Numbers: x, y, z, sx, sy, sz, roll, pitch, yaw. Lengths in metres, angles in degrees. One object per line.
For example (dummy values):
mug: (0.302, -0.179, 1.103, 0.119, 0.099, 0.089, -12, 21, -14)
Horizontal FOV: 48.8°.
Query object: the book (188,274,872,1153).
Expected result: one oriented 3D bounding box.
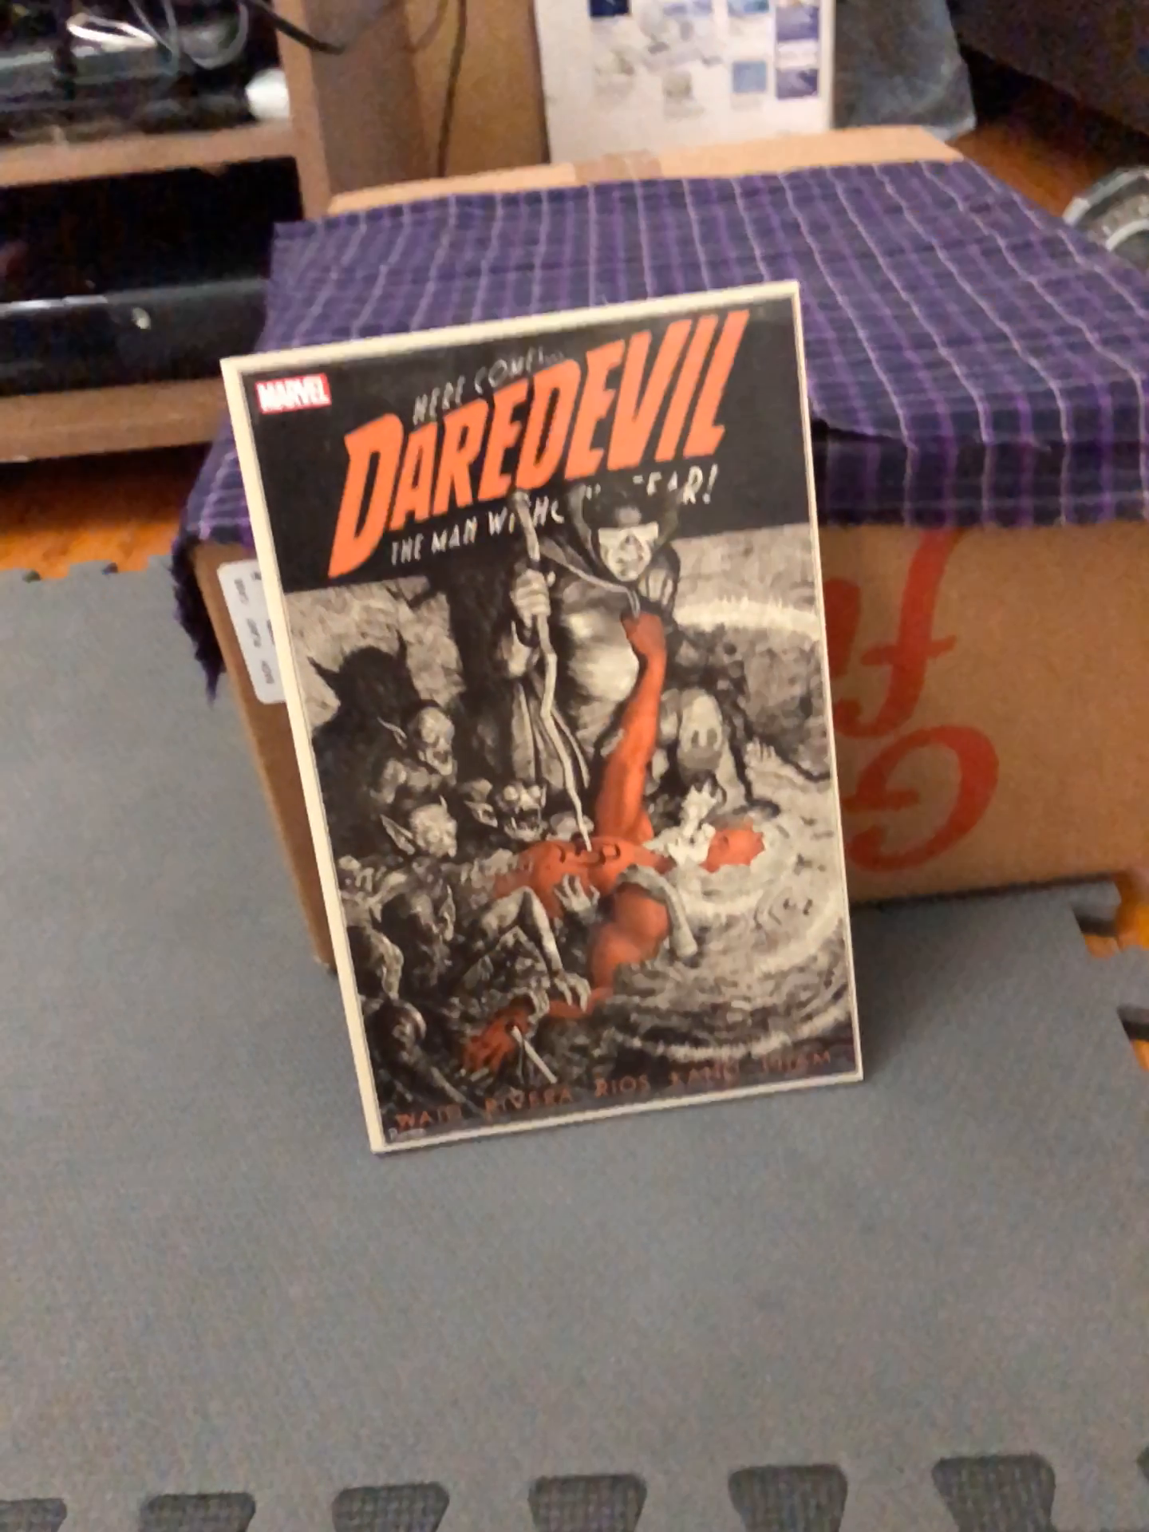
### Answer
book: (-0.005, -0.008, 0.363, 0.160, 0.229, 0.020, -8, 14, -2)
